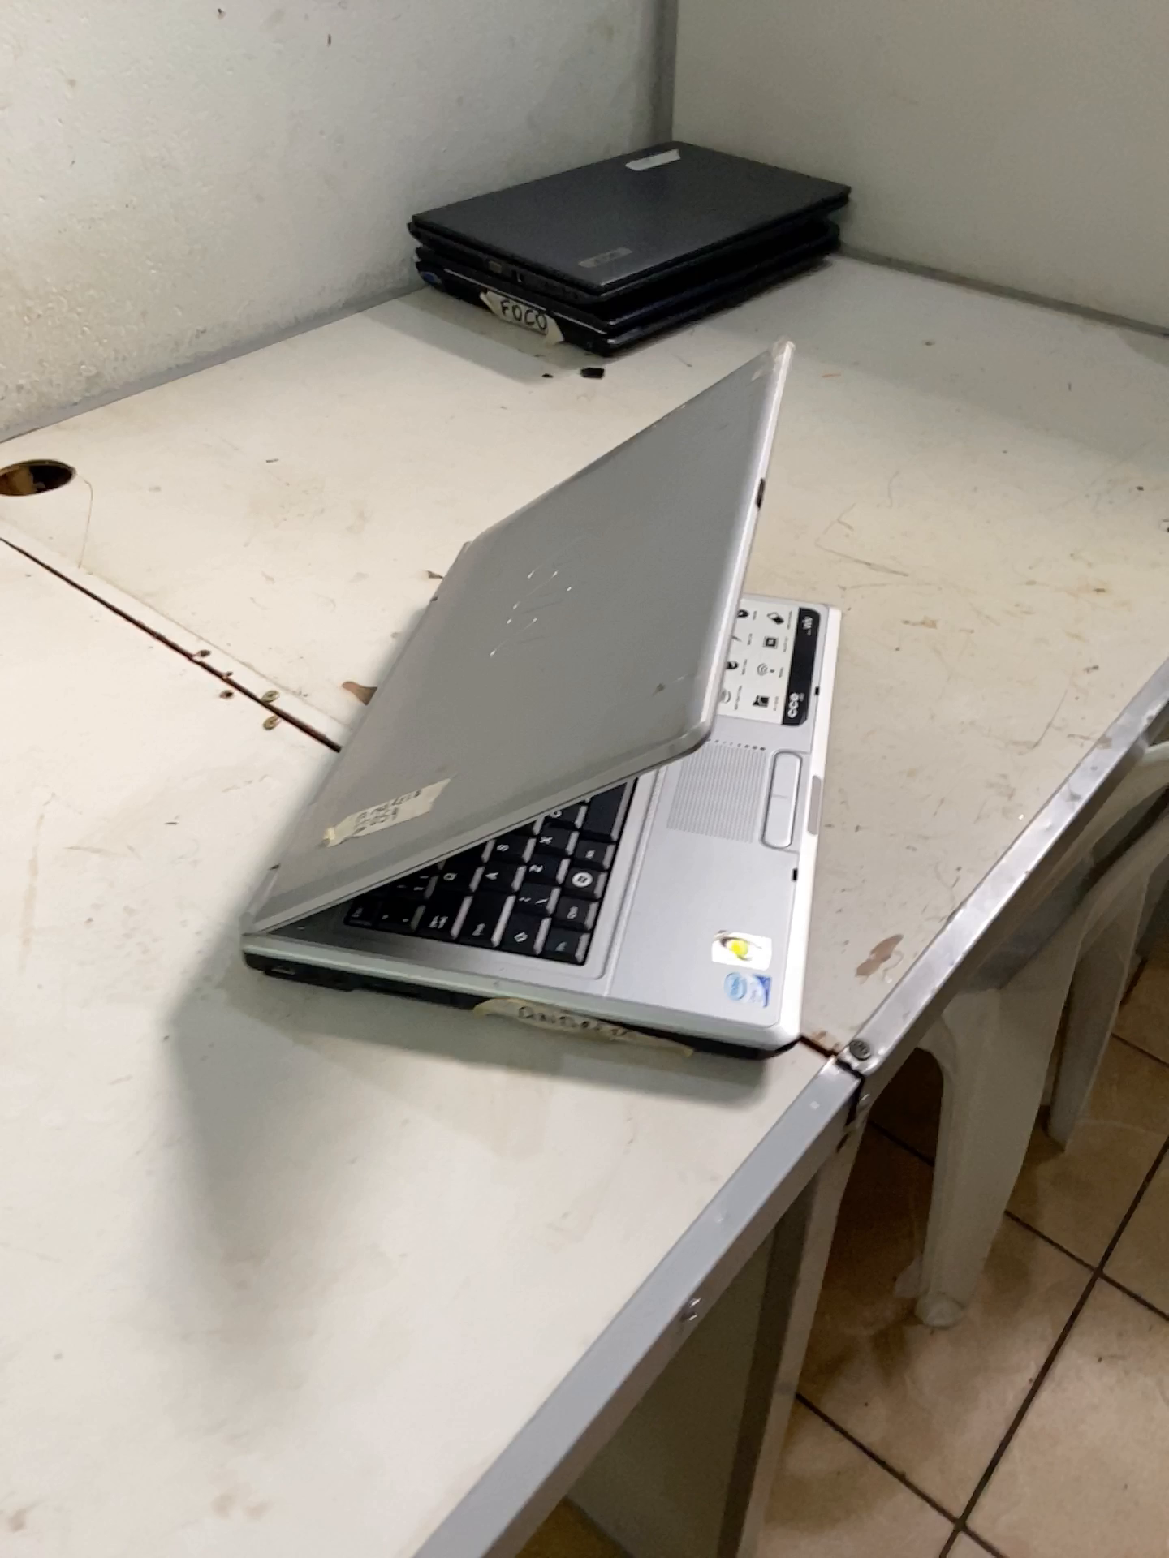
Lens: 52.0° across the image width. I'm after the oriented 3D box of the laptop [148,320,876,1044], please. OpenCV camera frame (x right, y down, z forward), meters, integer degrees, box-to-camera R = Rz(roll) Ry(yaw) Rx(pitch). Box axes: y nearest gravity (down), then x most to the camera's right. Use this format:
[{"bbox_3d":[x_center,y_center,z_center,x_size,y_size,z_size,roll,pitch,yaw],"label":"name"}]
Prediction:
[{"bbox_3d":[0.000,-0.076,0.578,0.242,0.153,0.337,8,41,9],"label":"laptop"}]
